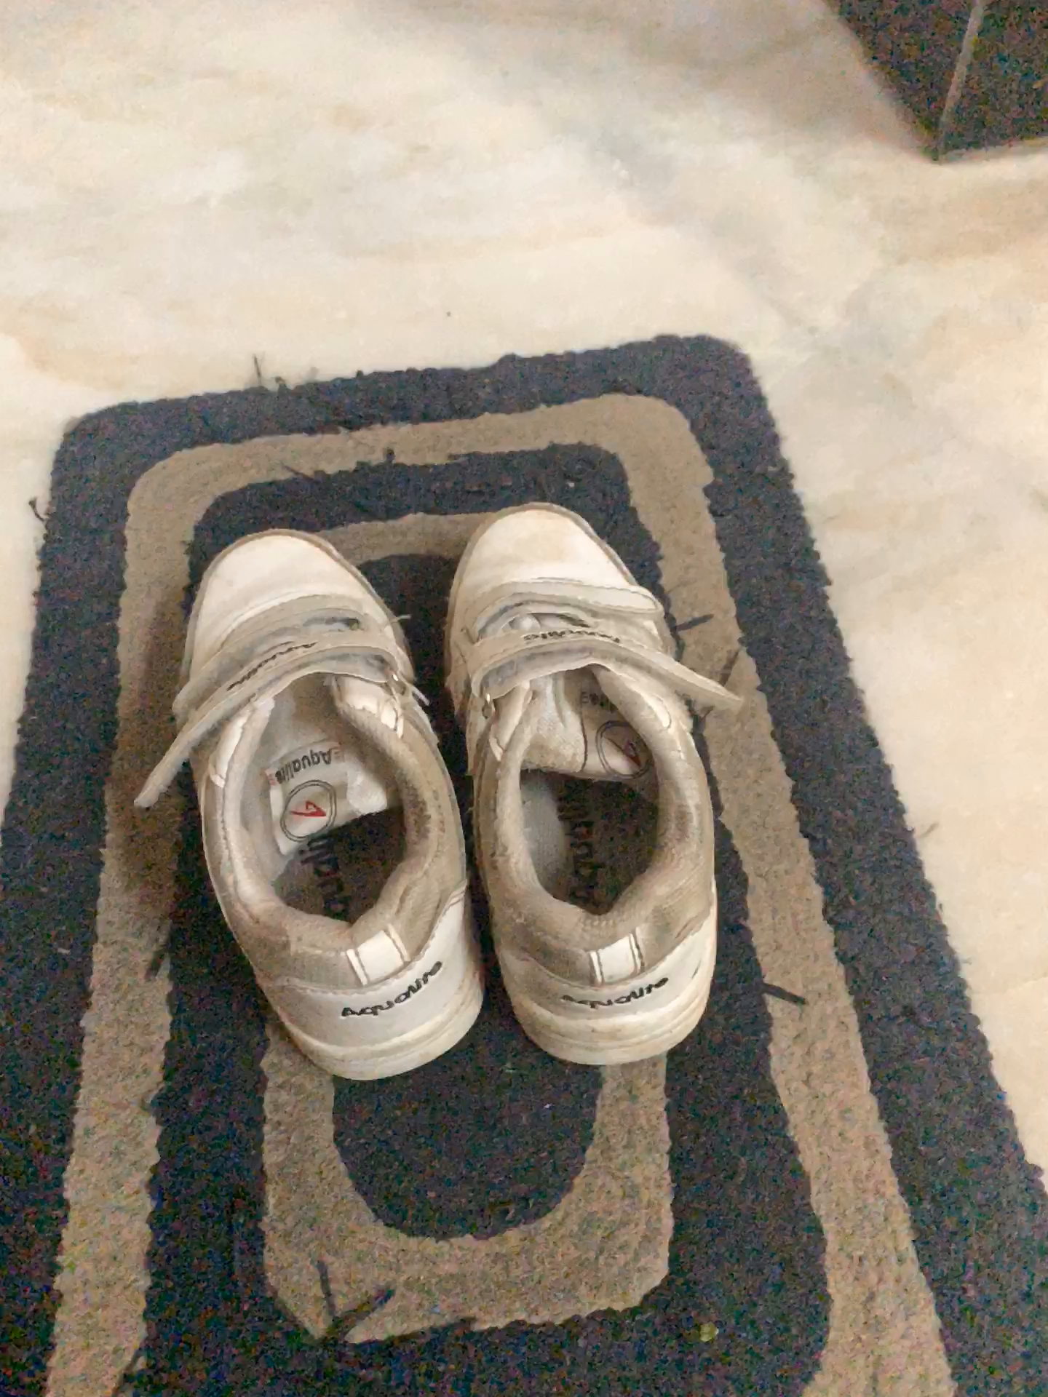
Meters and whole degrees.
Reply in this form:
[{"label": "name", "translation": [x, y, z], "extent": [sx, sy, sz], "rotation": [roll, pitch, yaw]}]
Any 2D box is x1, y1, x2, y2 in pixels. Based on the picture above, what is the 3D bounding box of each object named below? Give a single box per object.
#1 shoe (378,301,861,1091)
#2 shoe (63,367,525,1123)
[{"label": "shoe", "translation": [0.014, -0.008, 0.311], "extent": [0.080, 0.089, 0.201], "rotation": [-10, 57, -3]}, {"label": "shoe", "translation": [-0.069, 0.008, 0.320], "extent": [0.080, 0.089, 0.191], "rotation": [-17, 58, -8]}]
